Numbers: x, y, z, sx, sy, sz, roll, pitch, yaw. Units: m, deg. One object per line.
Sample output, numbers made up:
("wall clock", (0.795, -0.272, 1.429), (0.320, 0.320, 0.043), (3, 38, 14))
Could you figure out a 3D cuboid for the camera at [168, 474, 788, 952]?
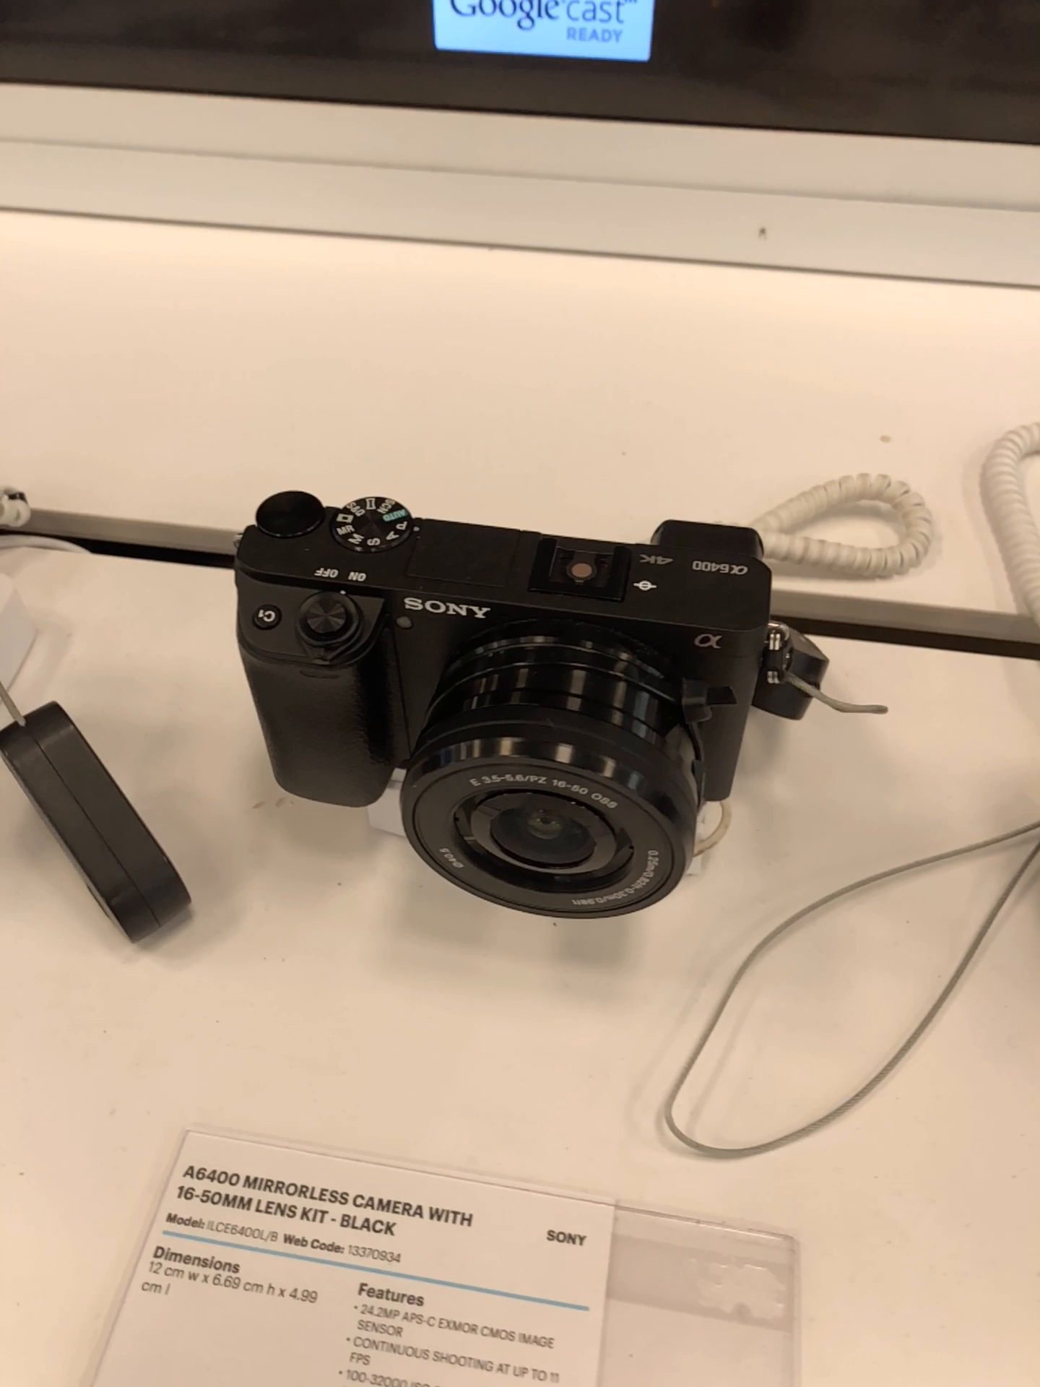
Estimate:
("camera", (-0.004, 0.004, 0.271), (0.120, 0.070, 0.070), (6, 49, 6))
